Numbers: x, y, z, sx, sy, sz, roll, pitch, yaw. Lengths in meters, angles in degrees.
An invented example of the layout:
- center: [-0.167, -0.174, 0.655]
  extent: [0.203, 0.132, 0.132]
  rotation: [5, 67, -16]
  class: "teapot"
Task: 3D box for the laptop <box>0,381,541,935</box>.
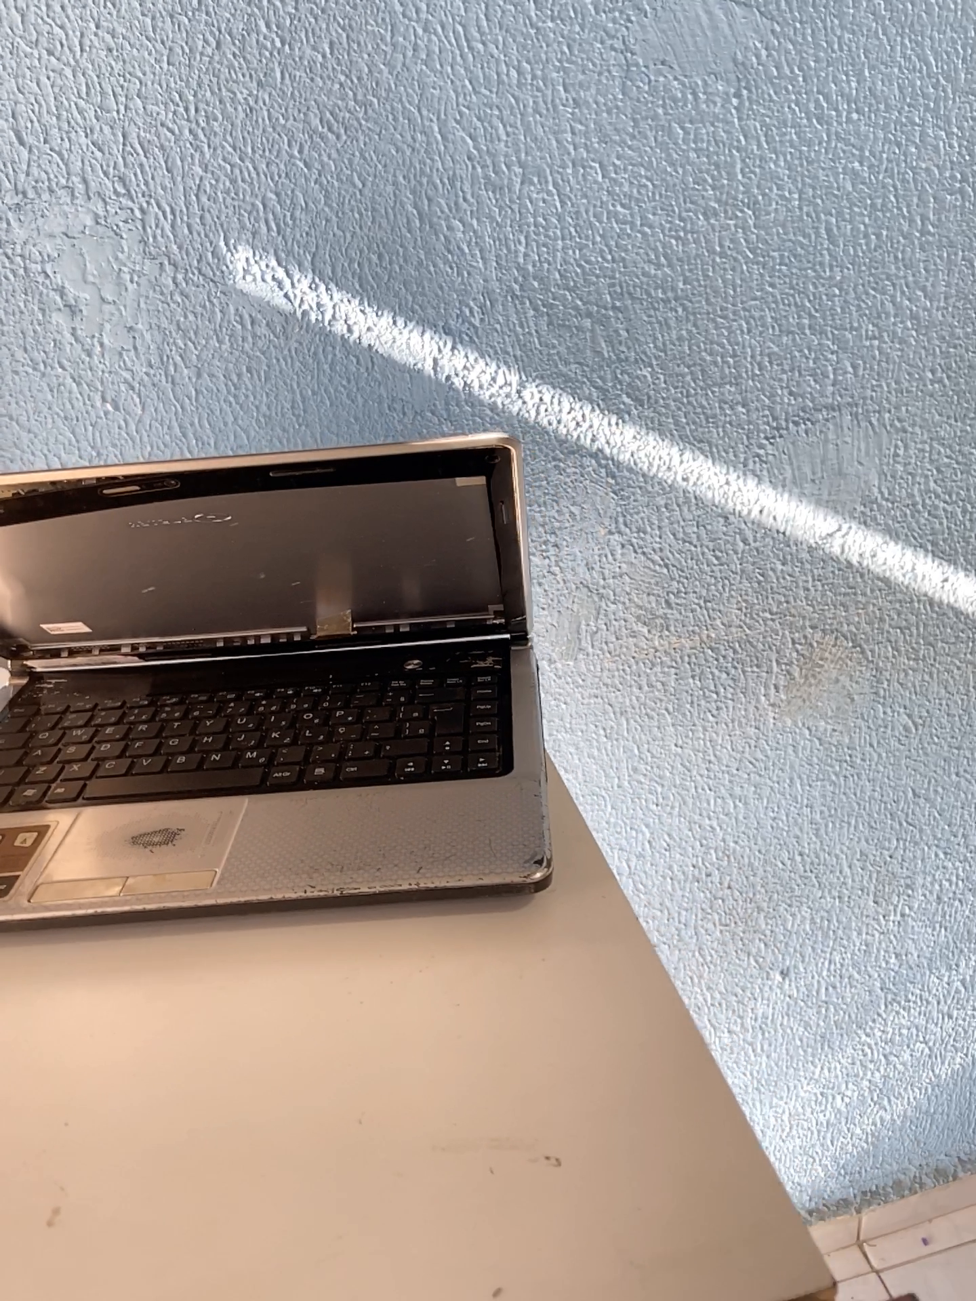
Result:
- center: [-0.146, -0.015, 0.498]
  extent: [0.325, 0.160, 0.233]
  rotation: [-4, 25, 3]
  class: "laptop"
